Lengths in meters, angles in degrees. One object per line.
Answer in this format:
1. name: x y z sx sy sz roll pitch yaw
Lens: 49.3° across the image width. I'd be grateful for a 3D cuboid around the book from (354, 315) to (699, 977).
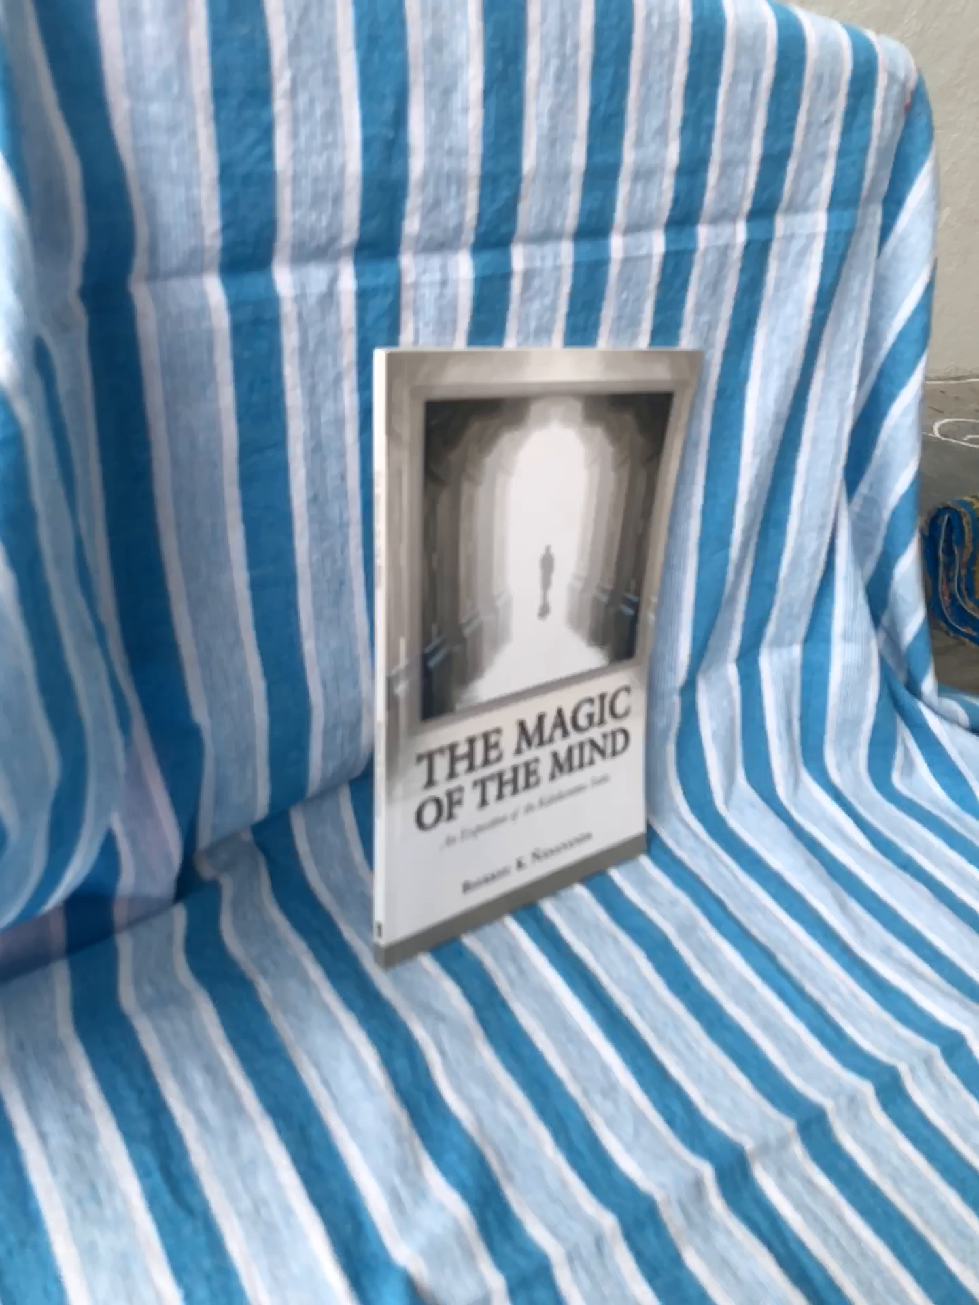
1. book: 0.018 -0.007 0.391 0.151 0.219 0.010 -13 22 -40
